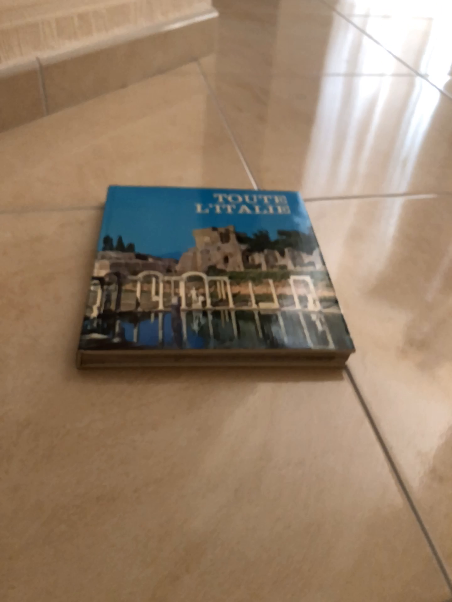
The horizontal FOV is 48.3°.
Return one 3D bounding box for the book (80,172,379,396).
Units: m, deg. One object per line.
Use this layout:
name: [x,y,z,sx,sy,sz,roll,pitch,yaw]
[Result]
book: [-0.007,-0.037,0.526,0.240,0.050,0.292,0,42,-7]
